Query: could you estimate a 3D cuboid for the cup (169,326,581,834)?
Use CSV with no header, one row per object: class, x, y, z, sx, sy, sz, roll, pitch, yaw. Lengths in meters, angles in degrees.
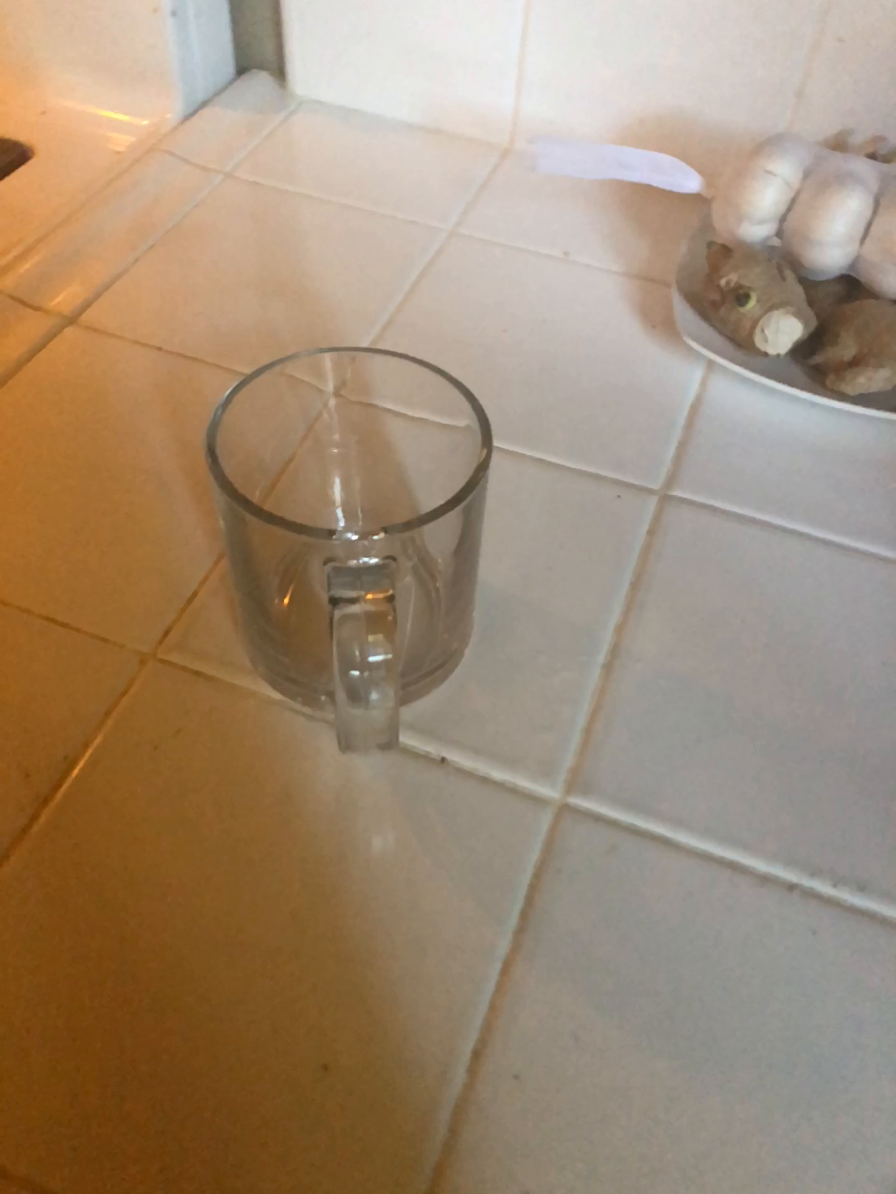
cup,-0.029,-0.010,0.316,0.100,0.079,0.131,-7,52,-9
